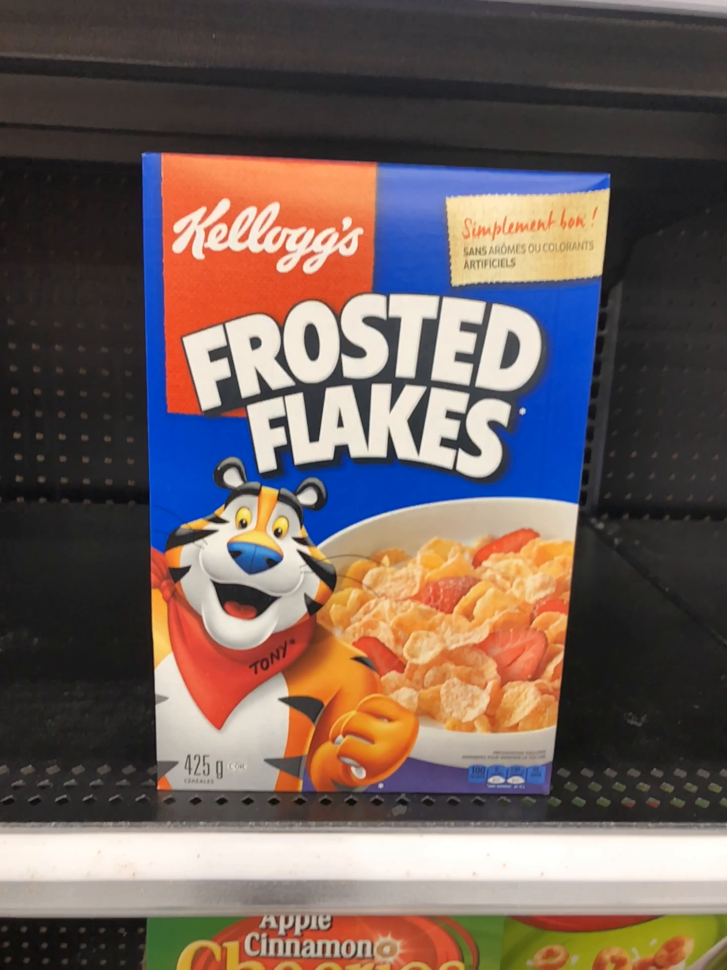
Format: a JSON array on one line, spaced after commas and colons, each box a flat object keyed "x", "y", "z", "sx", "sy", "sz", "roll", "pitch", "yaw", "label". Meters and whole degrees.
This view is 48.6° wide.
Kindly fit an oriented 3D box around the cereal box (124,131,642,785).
[{"x": 0.003, "y": -0.004, "z": 0.387, "sx": 0.210, "sy": 0.289, "sz": 0.060, "roll": 2, "pitch": 13, "yaw": -3, "label": "cereal box"}]
